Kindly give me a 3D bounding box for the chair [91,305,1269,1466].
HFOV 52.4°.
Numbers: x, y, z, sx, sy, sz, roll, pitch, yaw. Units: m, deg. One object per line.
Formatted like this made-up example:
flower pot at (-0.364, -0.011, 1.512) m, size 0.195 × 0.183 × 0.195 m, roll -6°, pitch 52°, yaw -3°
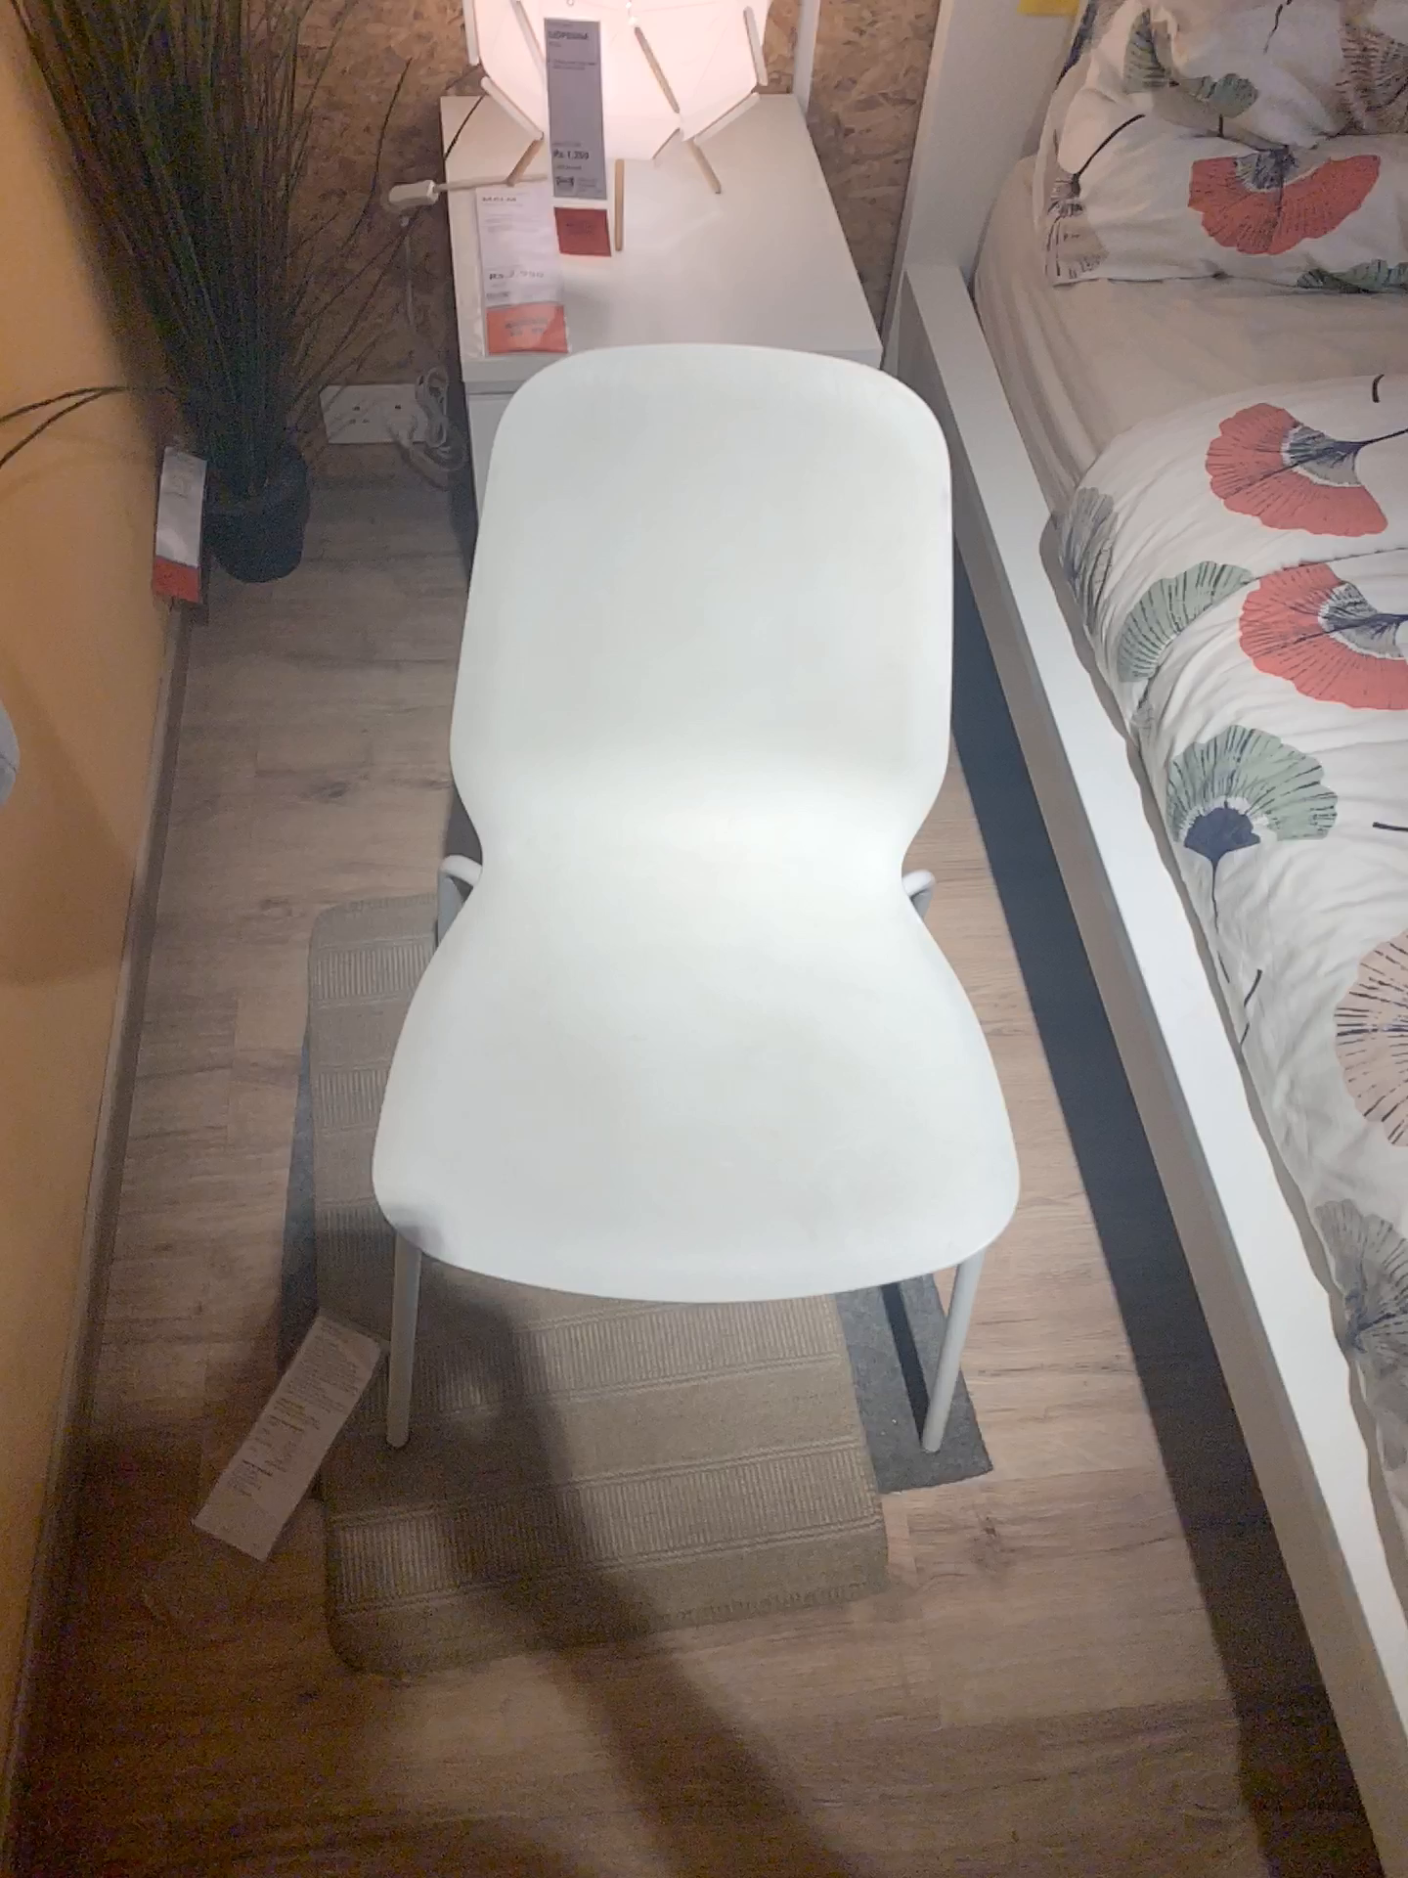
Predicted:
chair at (-0.032, 0.025, 1.126) m, size 0.540 × 0.758 × 0.561 m, roll 1°, pitch 56°, yaw -3°
